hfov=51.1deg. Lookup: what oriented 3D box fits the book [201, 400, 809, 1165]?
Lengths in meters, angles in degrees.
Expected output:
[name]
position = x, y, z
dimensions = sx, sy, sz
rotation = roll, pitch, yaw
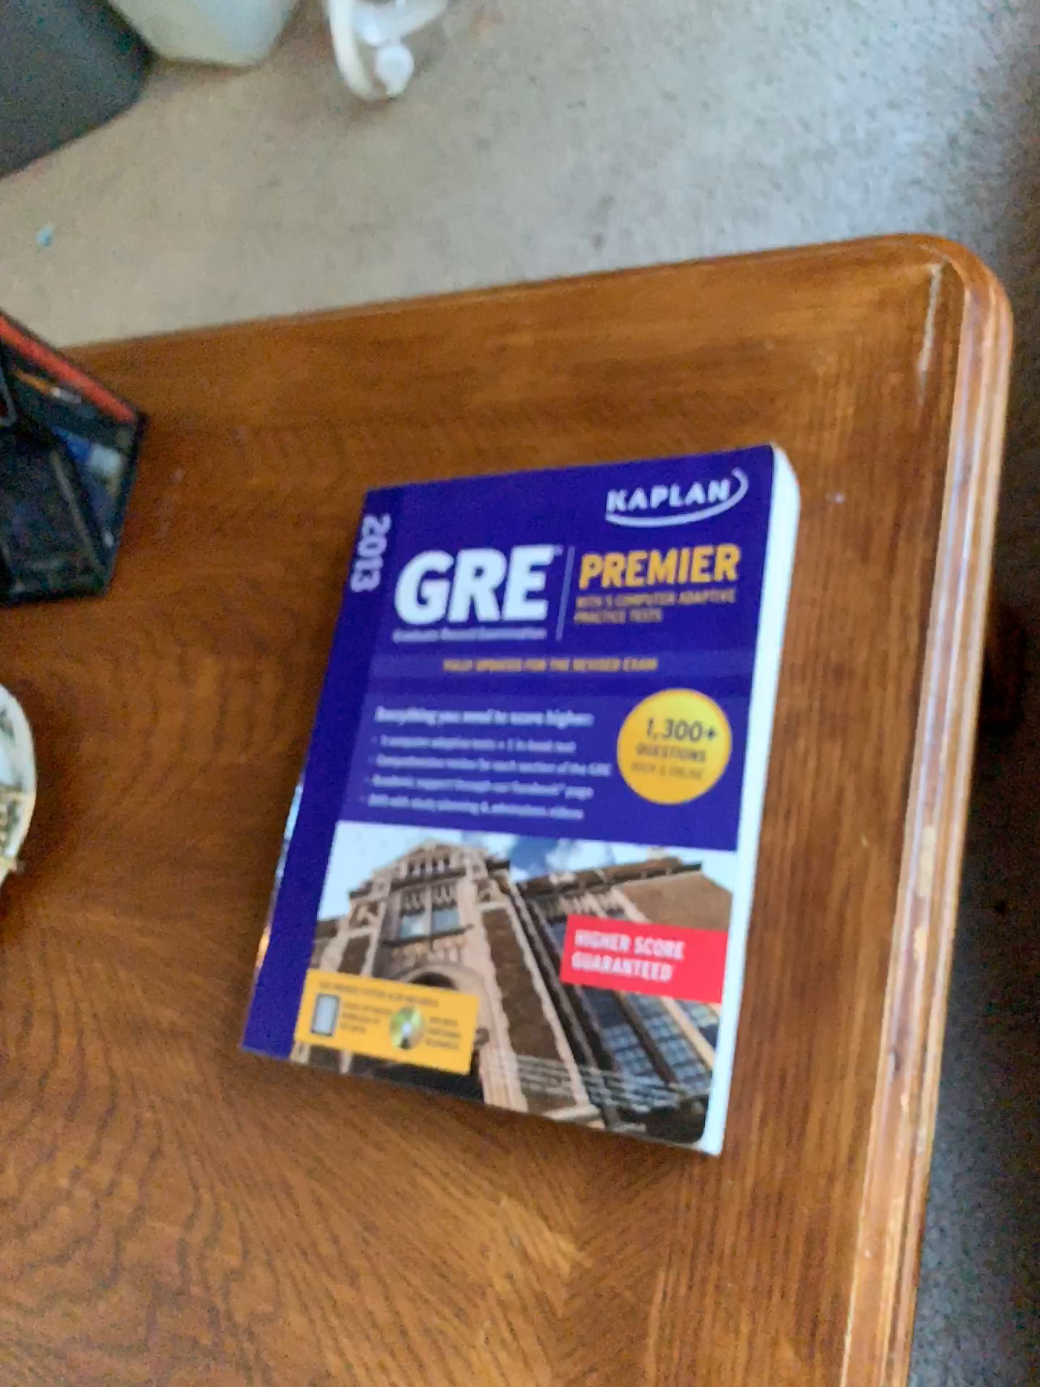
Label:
[book]
position = -0.003, 0.027, 0.478
dimensions = 0.221, 0.060, 0.290
rotation = 1, 72, 28
